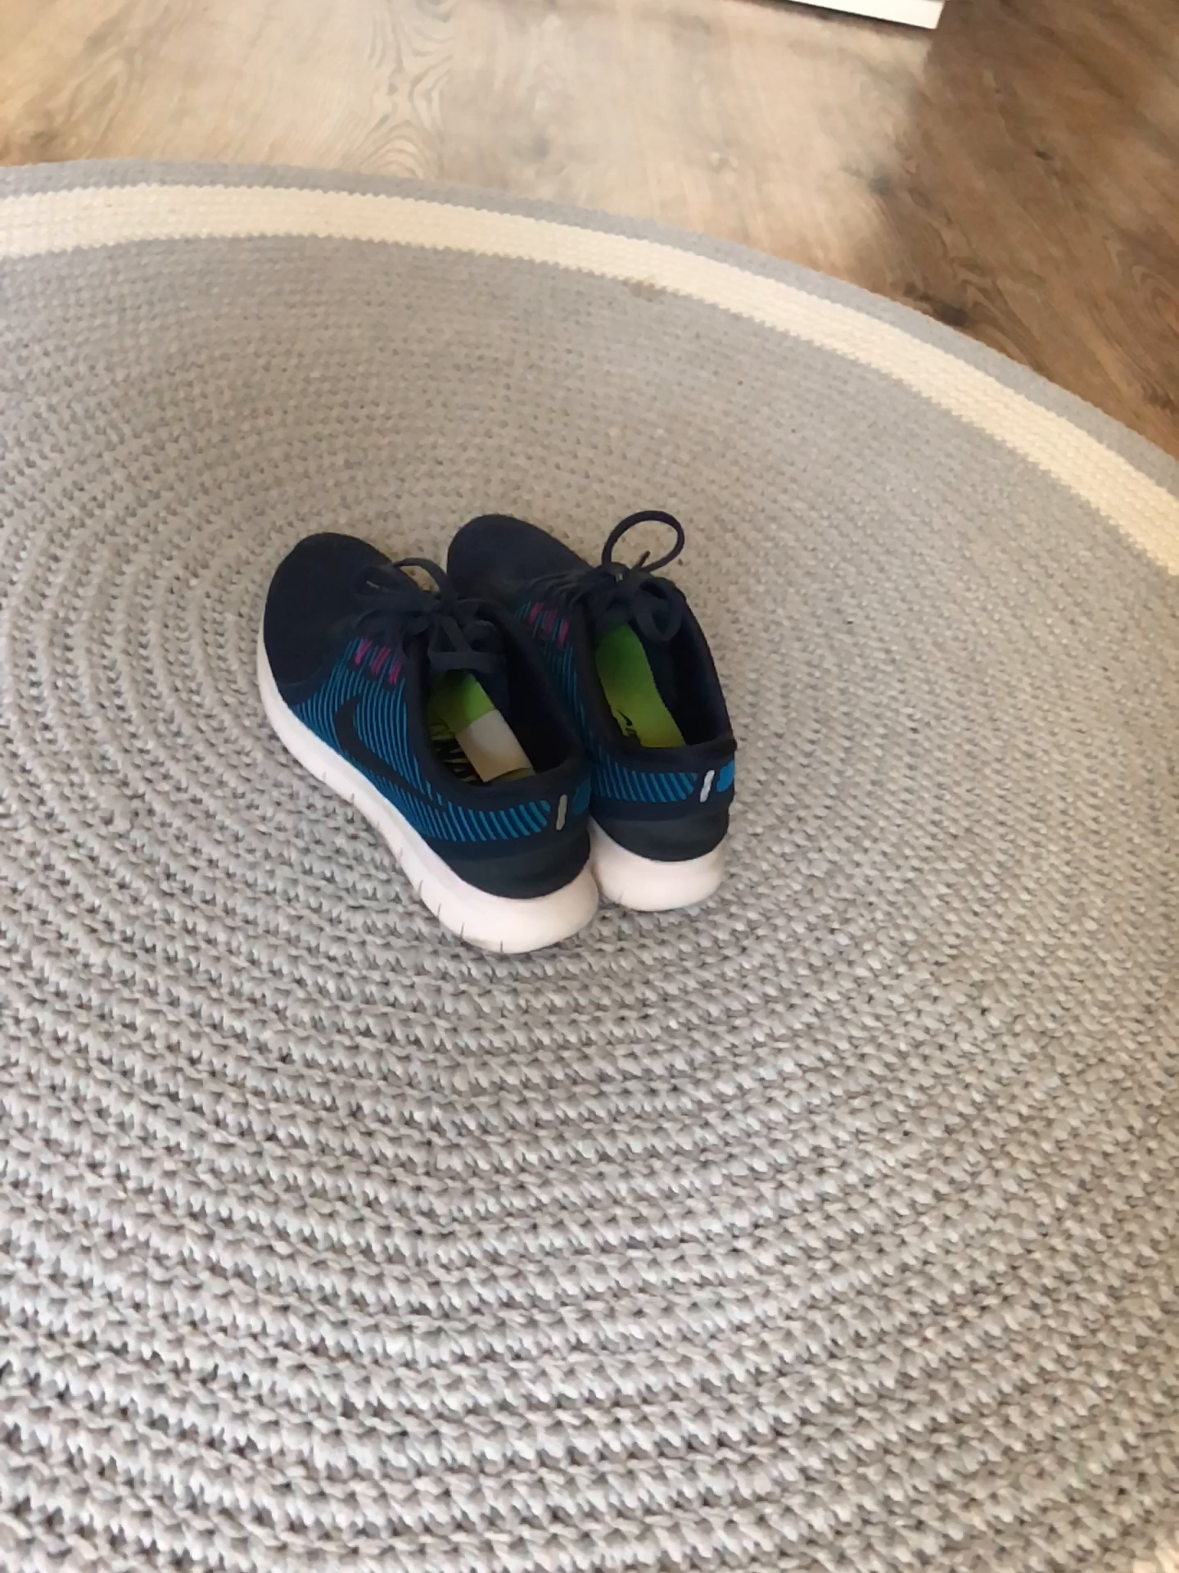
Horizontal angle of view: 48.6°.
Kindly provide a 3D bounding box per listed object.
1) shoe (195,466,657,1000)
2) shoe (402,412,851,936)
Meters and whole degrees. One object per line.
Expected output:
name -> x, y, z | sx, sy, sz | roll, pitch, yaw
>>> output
shoe -> -0.085, -0.037, 0.585 | 0.100, 0.080, 0.244 | -16, 52, -29
shoe -> 0.002, -0.068, 0.615 | 0.100, 0.080, 0.271 | -9, 48, -23
